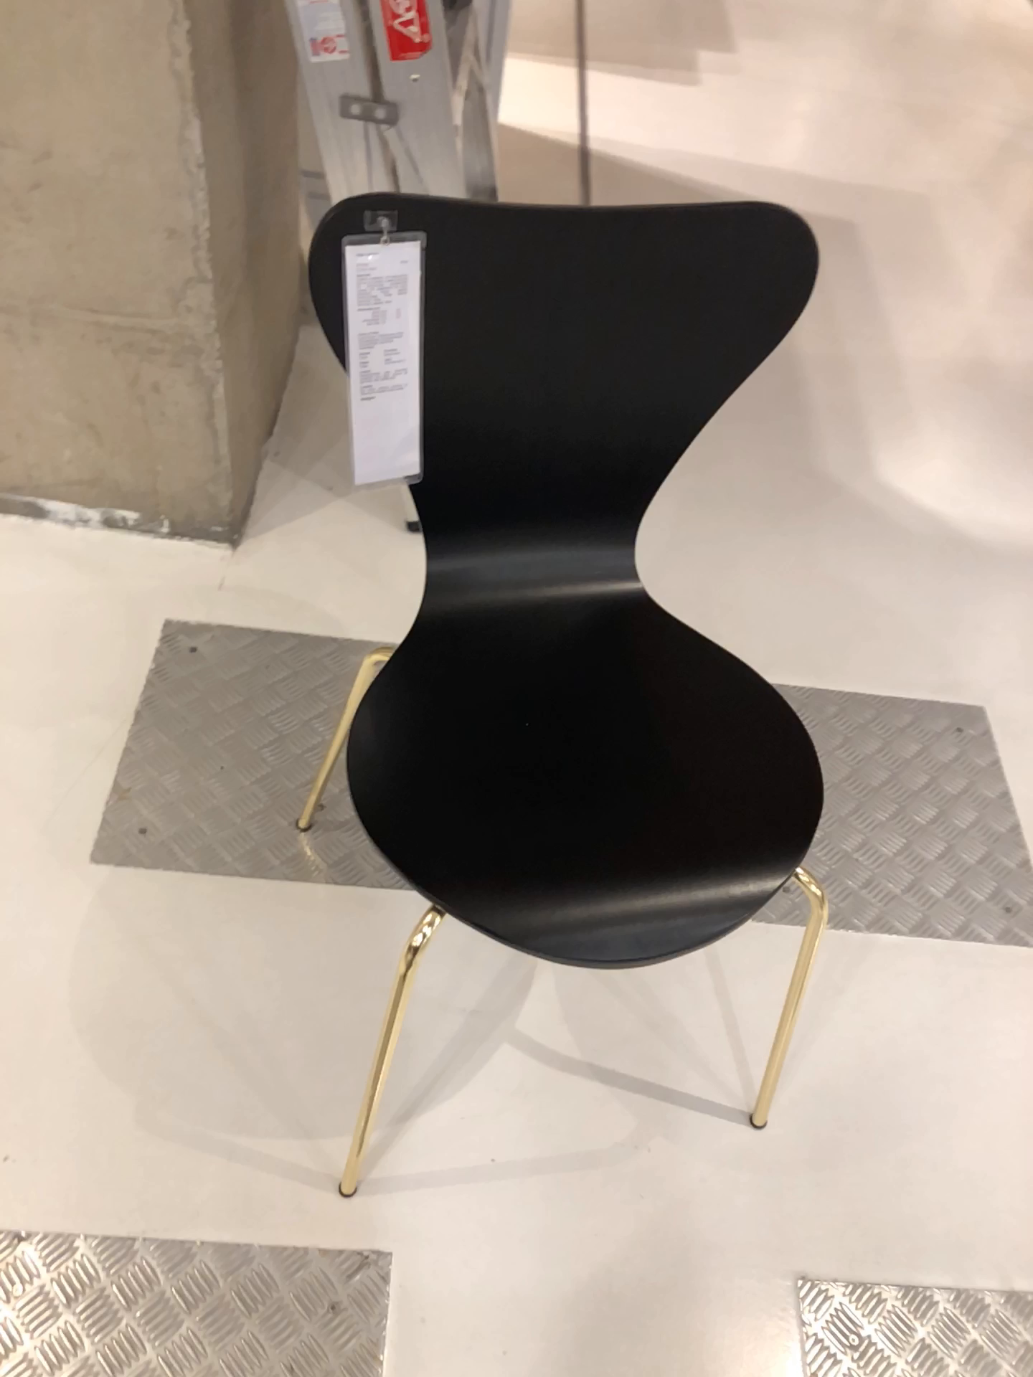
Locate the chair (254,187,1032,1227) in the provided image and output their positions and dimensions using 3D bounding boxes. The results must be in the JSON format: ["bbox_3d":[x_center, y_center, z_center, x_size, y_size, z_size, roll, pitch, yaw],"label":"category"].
[{"bbox_3d":[0.049,0.061,1.042,0.511,0.775,0.543,-3,51,-12],"label":"chair"}]
